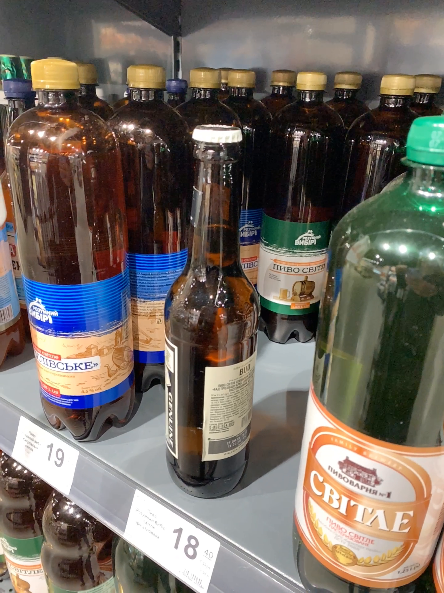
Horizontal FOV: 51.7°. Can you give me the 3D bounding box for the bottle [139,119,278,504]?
[{"bbox_3d":[-0.008,0.021,0.313,0.070,0.258,0.064,1,26,-1],"label":"bottle"}]
